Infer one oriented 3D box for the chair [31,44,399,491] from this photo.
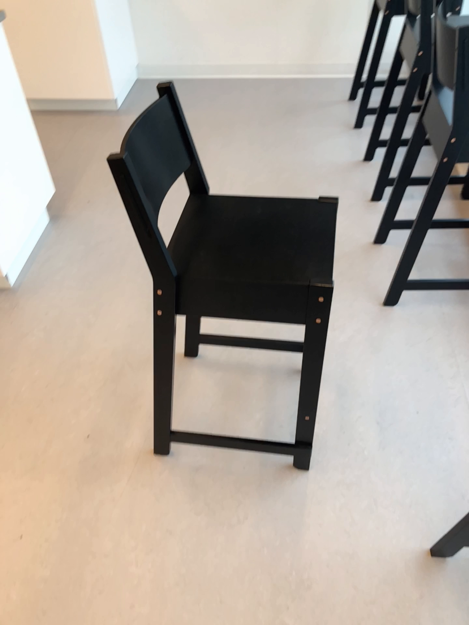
[{"bbox_3d":[0.020,-0.068,1.335,0.580,0.993,0.553,5,45,9],"label":"chair"}]
